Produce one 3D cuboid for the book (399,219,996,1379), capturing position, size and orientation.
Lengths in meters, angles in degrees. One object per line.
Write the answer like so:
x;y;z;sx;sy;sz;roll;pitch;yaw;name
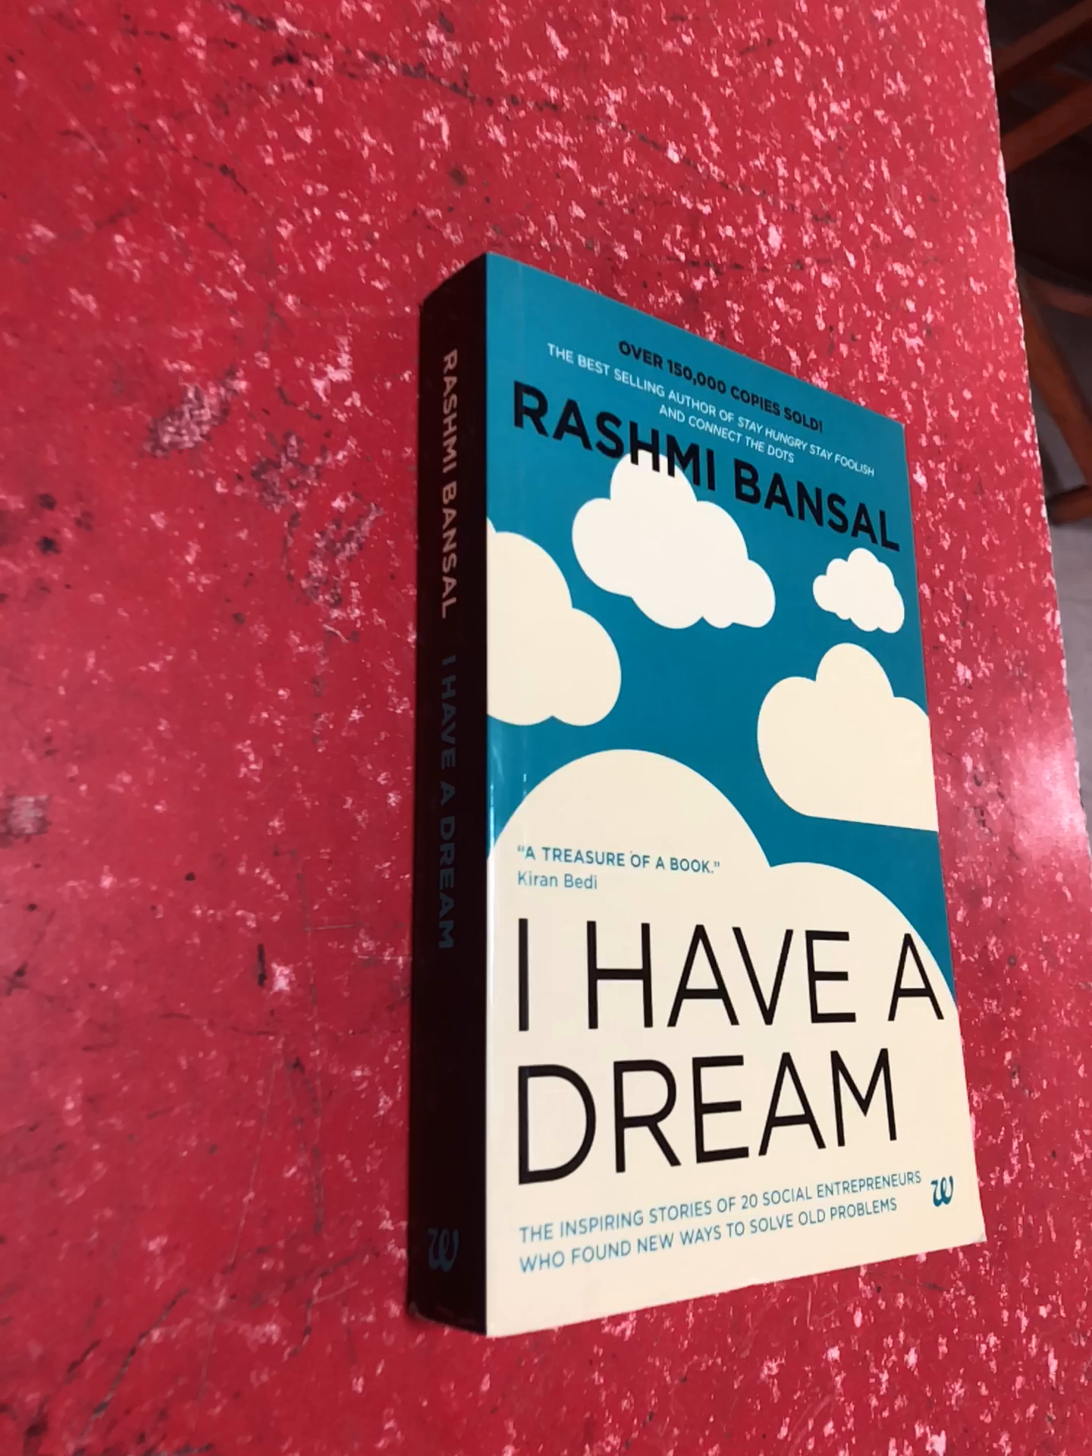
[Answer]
0.033;0.012;0.258;0.131;0.030;0.200;8;74;-36;book
